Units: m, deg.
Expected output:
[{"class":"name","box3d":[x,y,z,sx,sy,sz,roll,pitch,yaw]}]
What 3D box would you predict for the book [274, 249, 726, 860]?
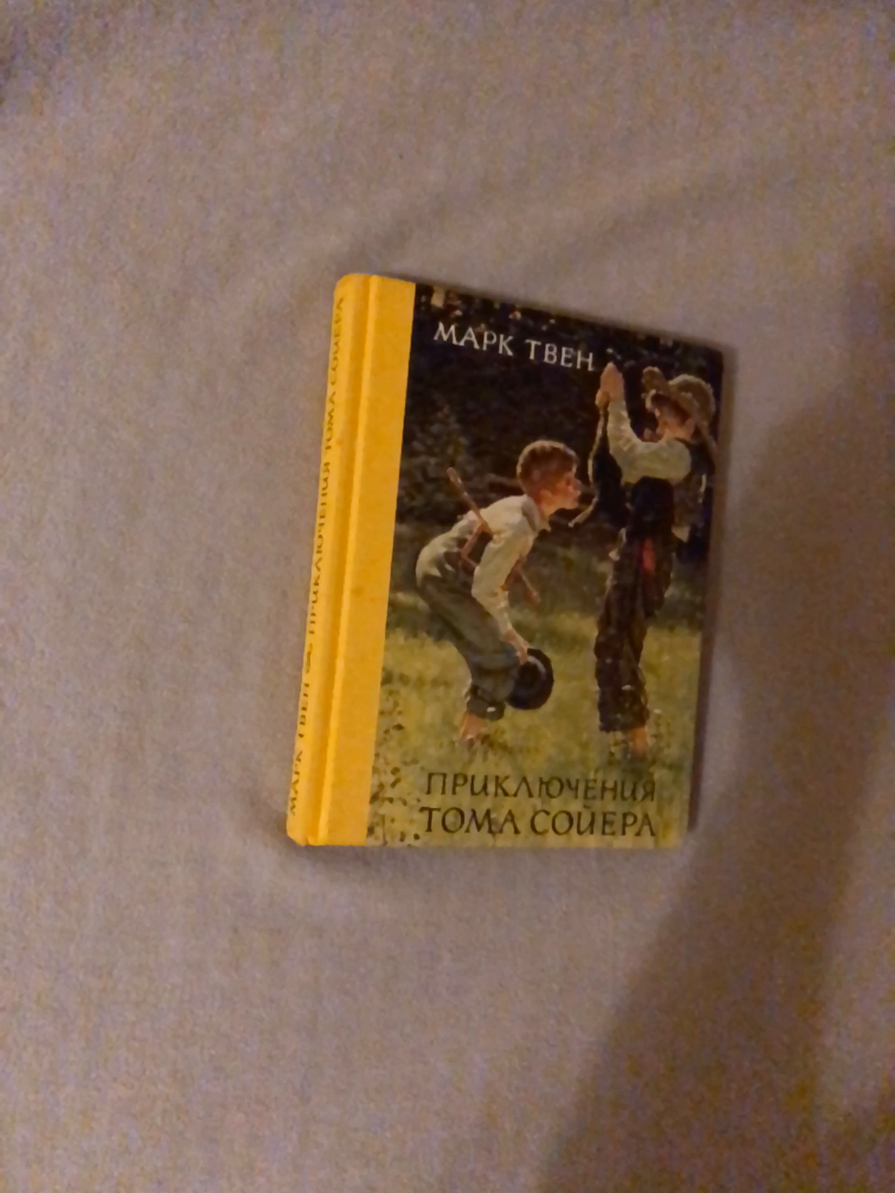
[{"class":"book","box3d":[0.027,-0.010,0.405,0.171,0.030,0.224,6,85,-20]}]
